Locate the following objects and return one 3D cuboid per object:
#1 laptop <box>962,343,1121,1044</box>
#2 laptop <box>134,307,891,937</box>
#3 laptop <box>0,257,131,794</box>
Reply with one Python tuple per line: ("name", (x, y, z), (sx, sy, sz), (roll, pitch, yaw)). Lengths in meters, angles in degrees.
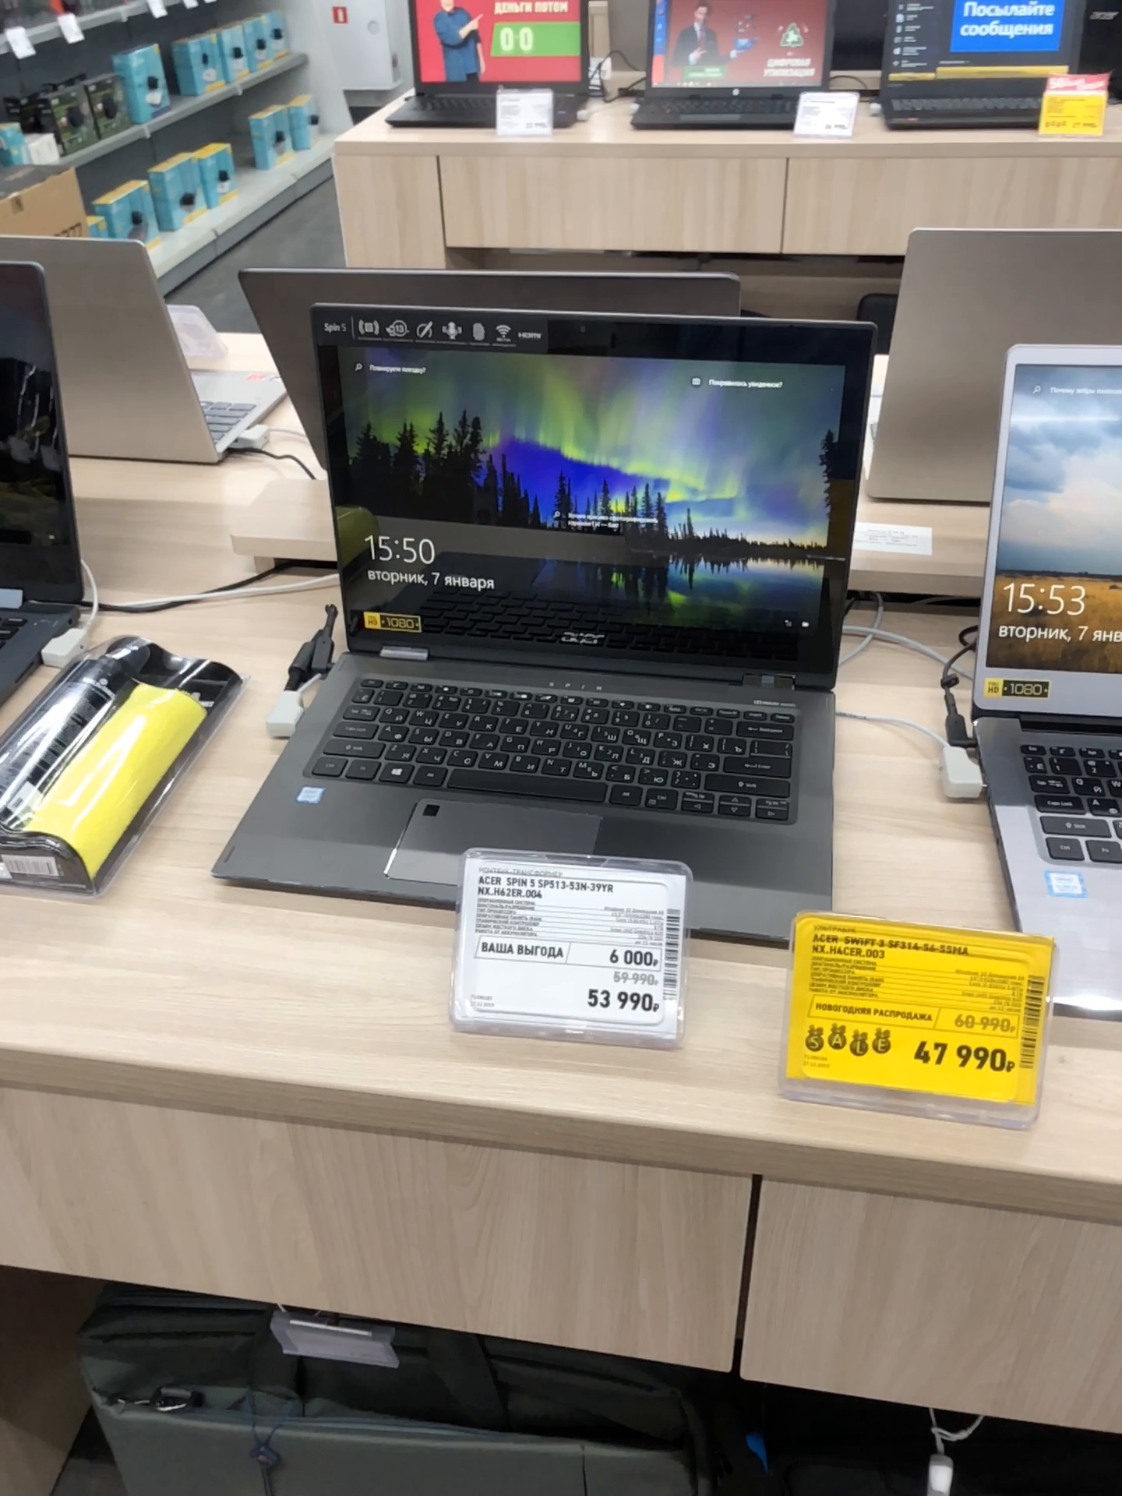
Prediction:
("laptop", (0.377, -0.052, 0.604), (0.270, 0.196, 0.300), (3, 36, 9))
("laptop", (-0.002, -0.083, 0.659), (0.314, 0.215, 0.246), (5, 37, 9))
("laptop", (-0.521, -0.155, 0.780), (0.340, 0.215, 0.289), (4, 37, 9))
